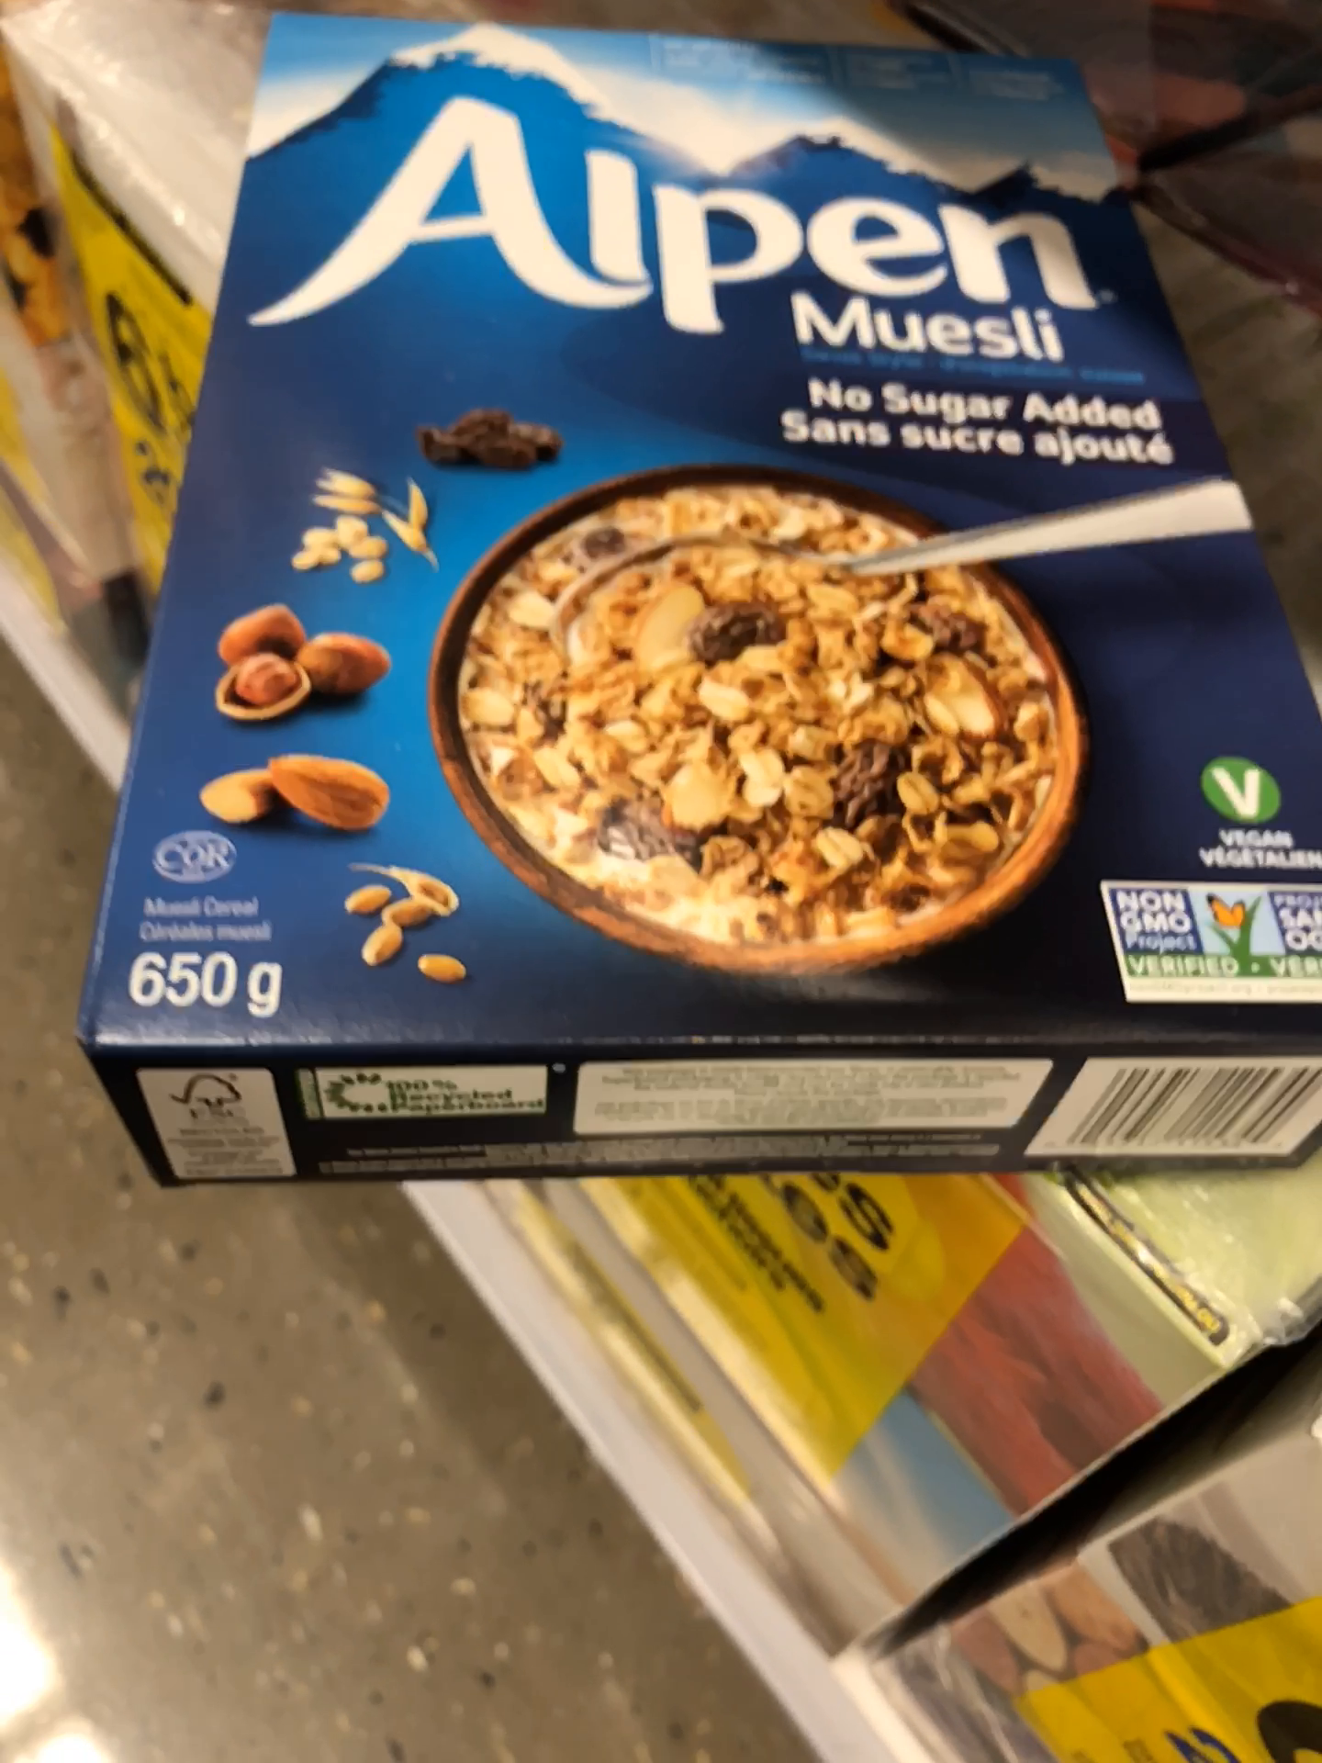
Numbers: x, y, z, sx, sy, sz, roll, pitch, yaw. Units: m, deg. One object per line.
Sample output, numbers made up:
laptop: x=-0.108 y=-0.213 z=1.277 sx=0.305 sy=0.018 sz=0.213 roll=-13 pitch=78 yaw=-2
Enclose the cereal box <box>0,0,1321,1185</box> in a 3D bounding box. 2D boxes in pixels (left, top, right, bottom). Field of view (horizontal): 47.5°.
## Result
cereal box: x=0.003 y=-0.075 z=0.268 sx=0.200 sy=0.050 sz=0.251 roll=0 pitch=57 yaw=-6
